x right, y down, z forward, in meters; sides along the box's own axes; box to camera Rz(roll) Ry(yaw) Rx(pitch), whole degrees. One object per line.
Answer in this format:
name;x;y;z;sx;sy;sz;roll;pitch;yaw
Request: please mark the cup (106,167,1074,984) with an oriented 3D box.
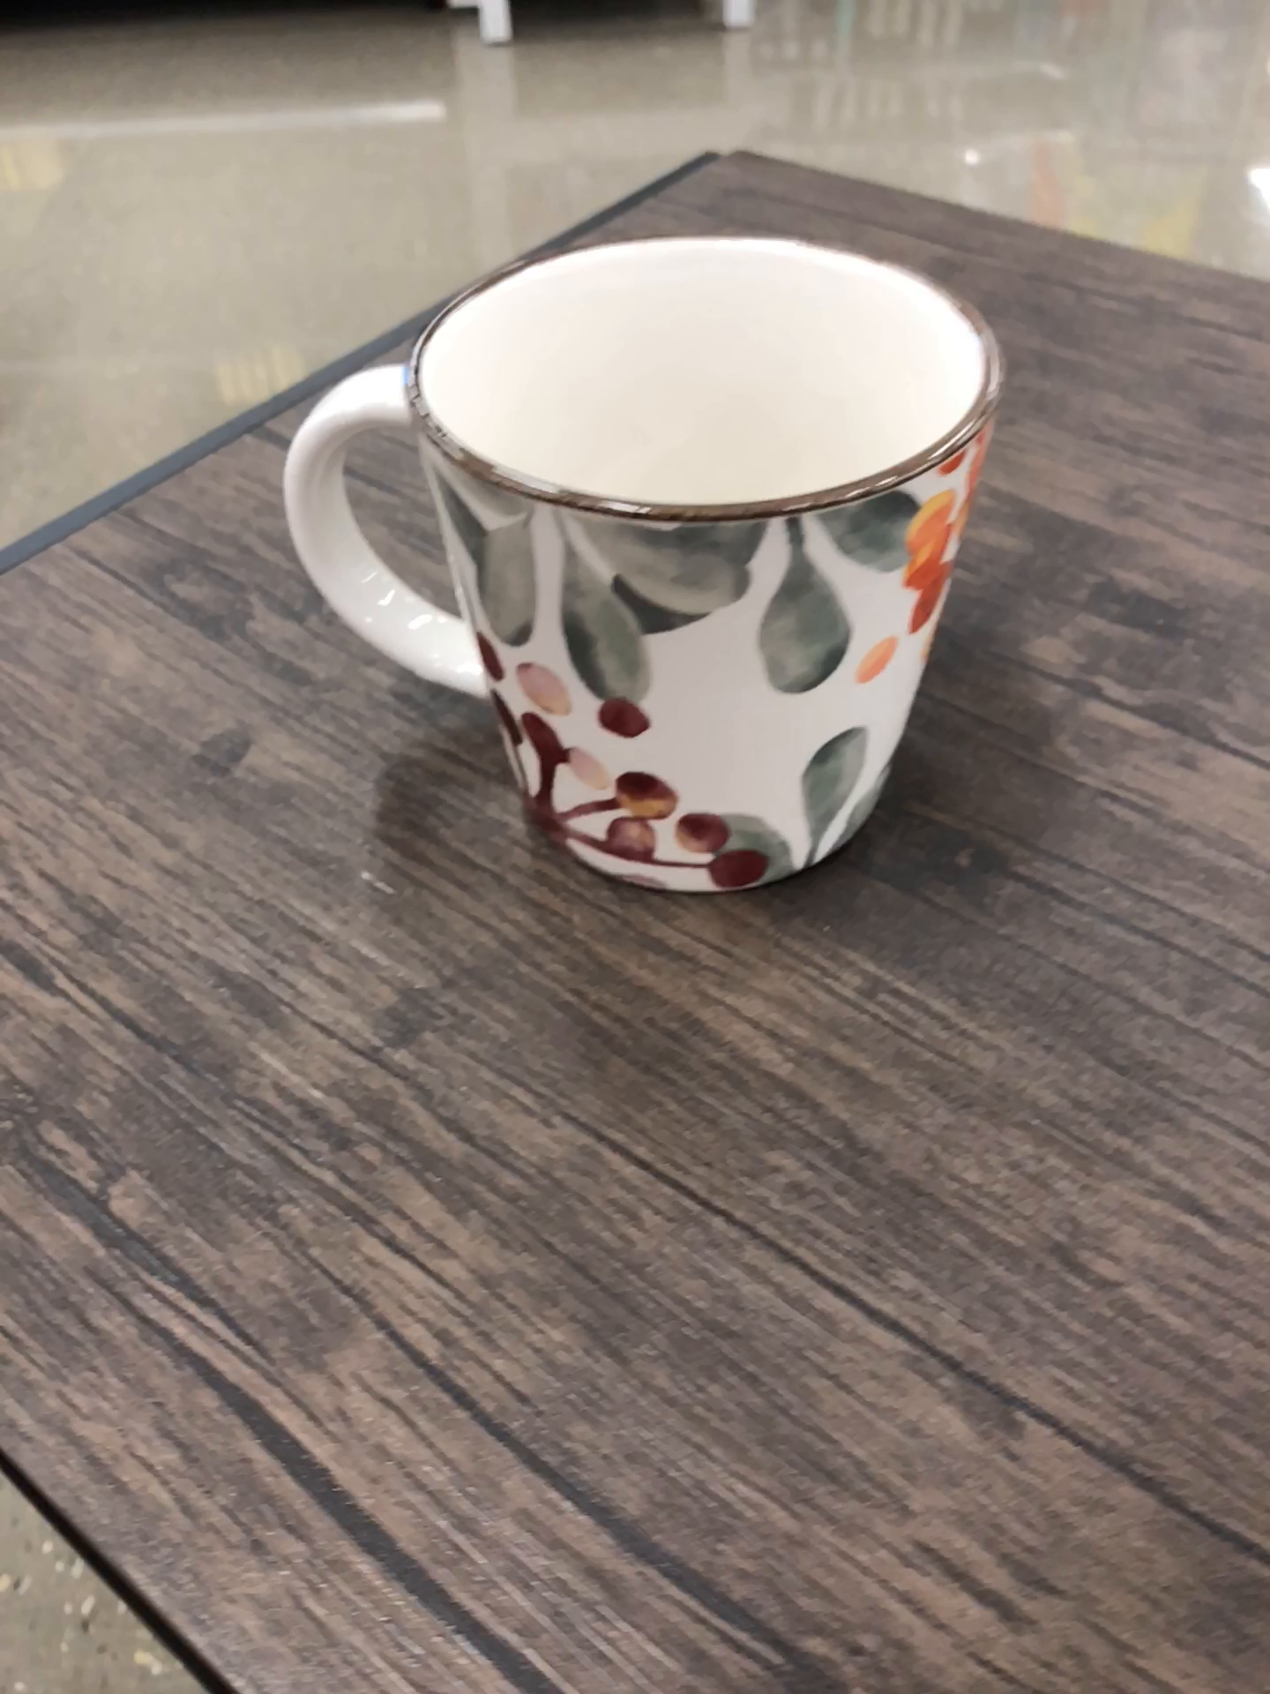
cup;0.000;-0.059;0.294;0.150;0.110;0.100;10;47;13
